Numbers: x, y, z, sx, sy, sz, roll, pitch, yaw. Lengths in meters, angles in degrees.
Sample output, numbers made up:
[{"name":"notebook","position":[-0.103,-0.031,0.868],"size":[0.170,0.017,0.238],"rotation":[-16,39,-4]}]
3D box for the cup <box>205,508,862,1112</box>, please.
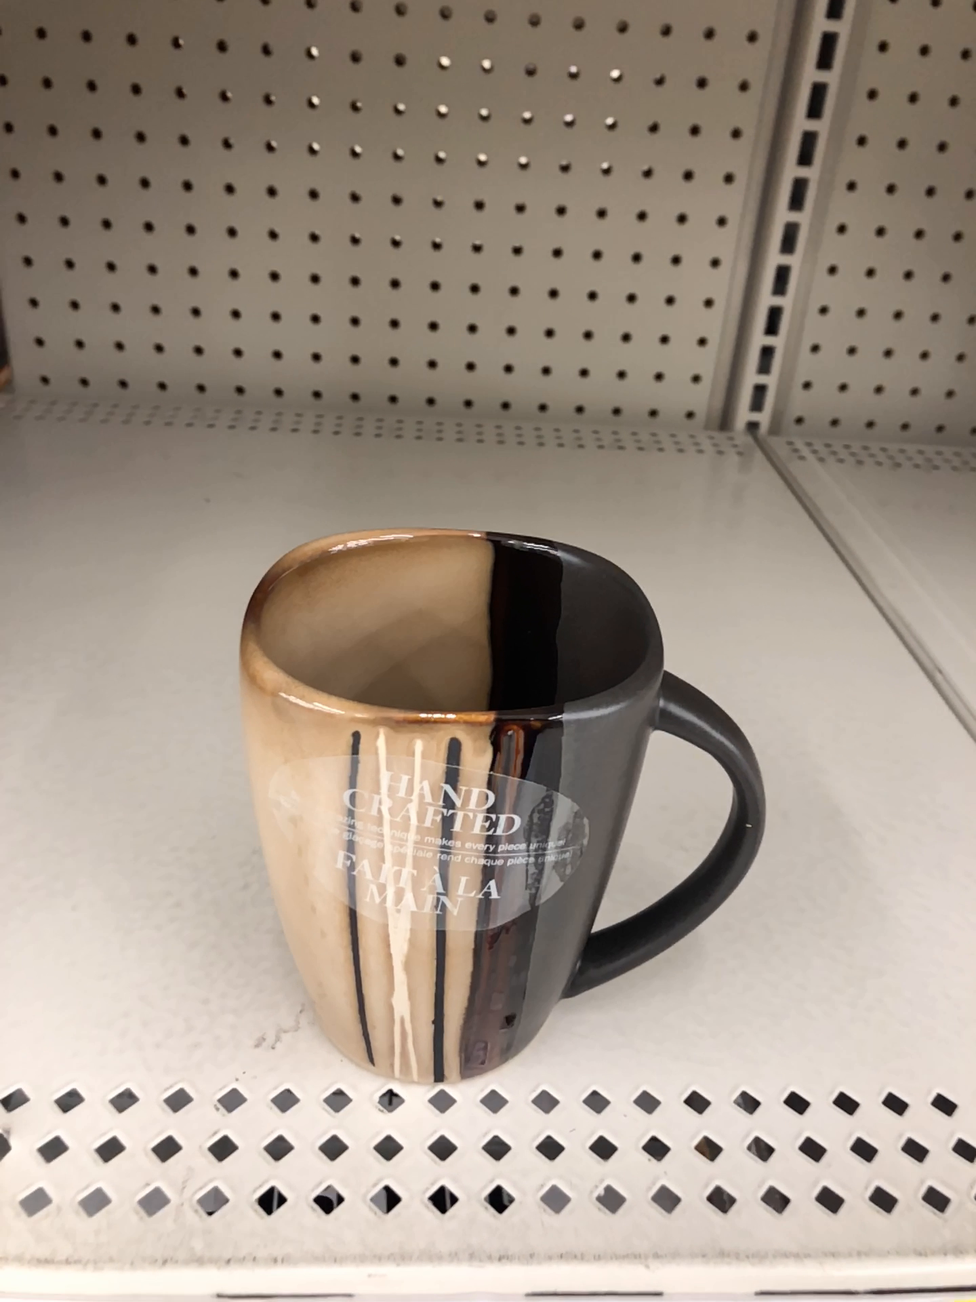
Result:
[{"name":"cup","position":[0.004,0.036,0.261],"size":[0.120,0.110,0.087],"rotation":[1,30,-5]}]
